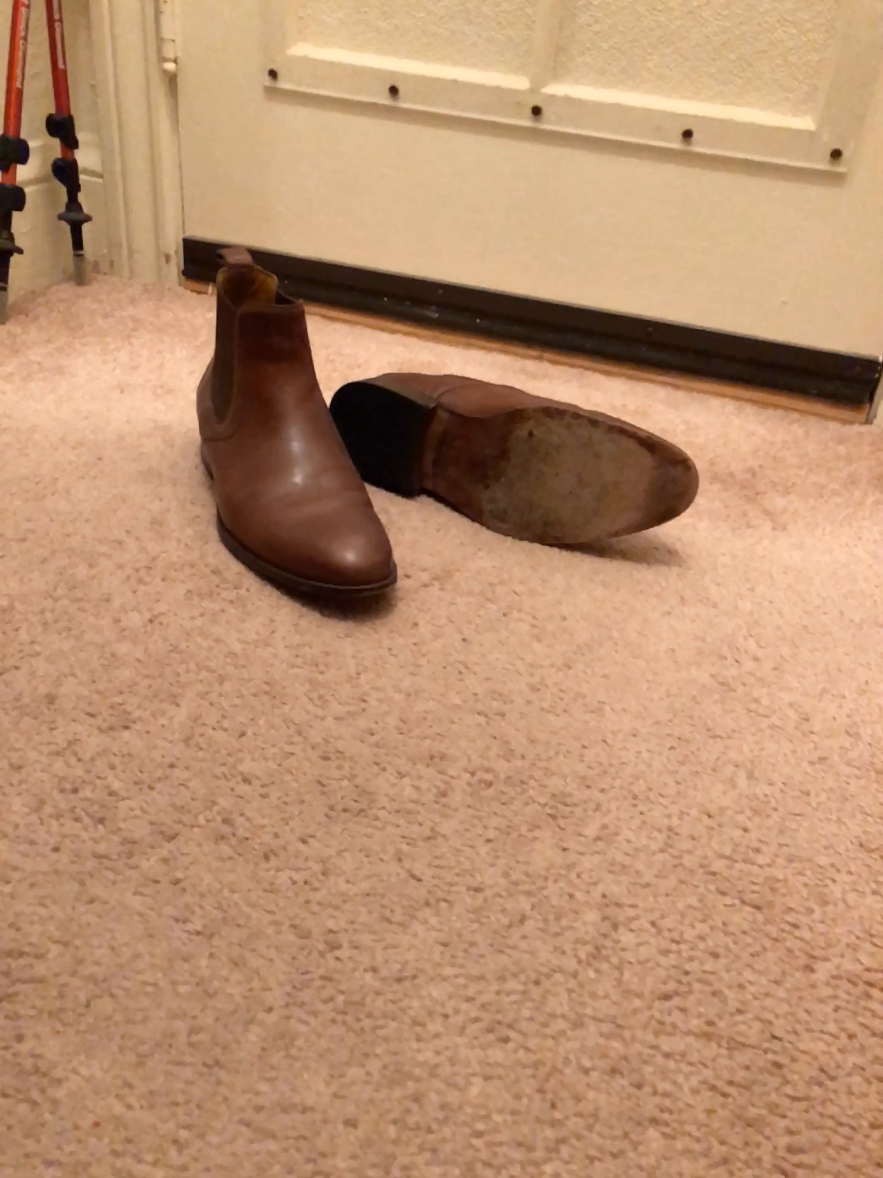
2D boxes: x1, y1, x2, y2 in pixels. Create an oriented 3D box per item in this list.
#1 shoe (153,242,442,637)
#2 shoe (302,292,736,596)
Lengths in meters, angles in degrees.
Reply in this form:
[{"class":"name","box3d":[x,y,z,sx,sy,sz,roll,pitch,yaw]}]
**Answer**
[{"class":"shoe","box3d":[-0.117,-0.124,0.689,0.109,0.158,0.297,-9,36,-23]},{"class":"shoe","box3d":[0.061,-0.130,0.789,0.296,0.118,0.170,20,34,17]}]
